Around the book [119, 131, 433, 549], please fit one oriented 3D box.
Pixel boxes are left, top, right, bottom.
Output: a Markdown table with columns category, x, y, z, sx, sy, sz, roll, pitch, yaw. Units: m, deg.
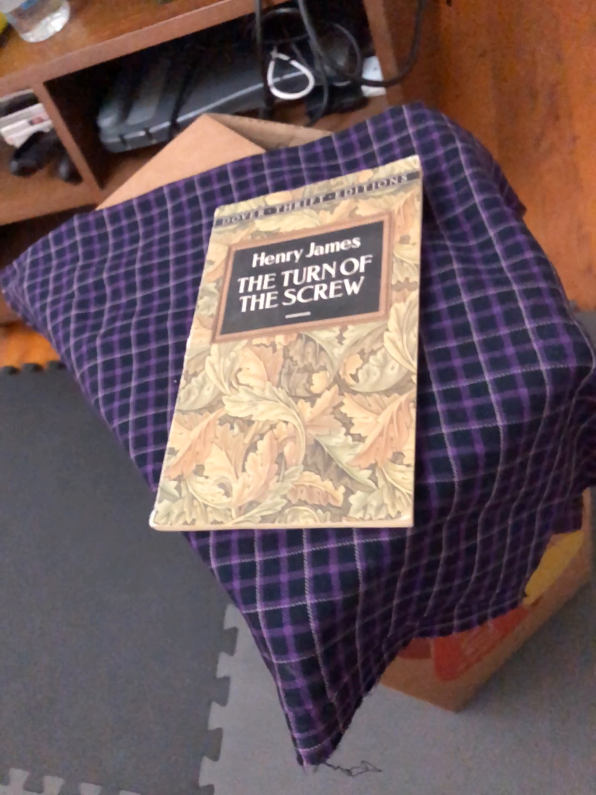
| category | x | y | z | sx | sy | sz | roll | pitch | yaw |
| --- | --- | --- | --- | --- | --- | --- | --- | --- | --- |
| book | -0.004 | -0.036 | 0.331 | 0.140 | 0.010 | 0.221 | -6 | 60 | 22 |
